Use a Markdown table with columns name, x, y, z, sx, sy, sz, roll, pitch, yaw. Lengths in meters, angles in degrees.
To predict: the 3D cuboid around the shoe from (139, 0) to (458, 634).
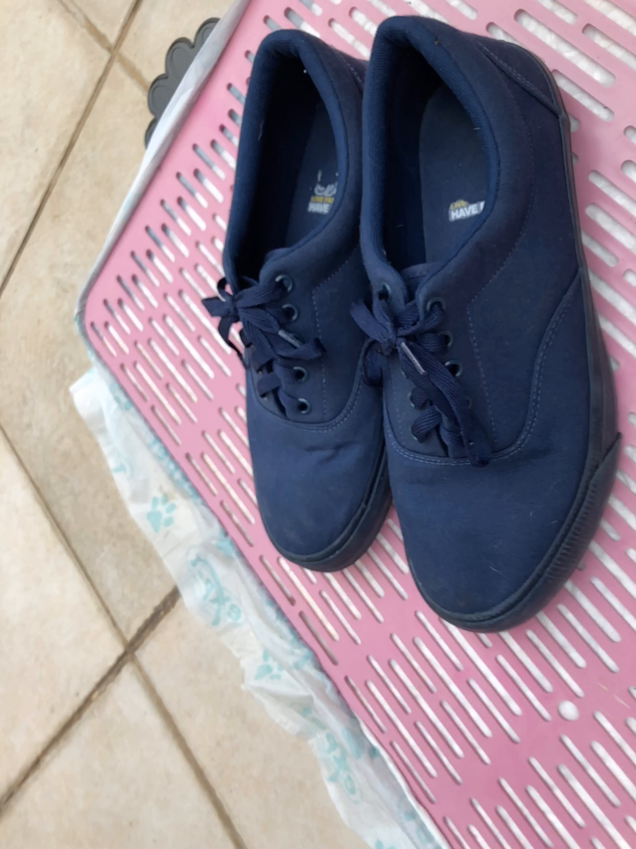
| name | x | y | z | sx | sy | sz | roll | pitch | yaw |
| --- | --- | --- | --- | --- | --- | --- | --- | --- | --- |
| shoe | -0.011 | -0.053 | 0.359 | 0.108 | 0.099 | 0.270 | 8 | 98 | 35 |

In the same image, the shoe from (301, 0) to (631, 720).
| name | x | y | z | sx | sy | sz | roll | pitch | yaw |
| --- | --- | --- | --- | --- | --- | --- | --- | --- | --- |
| shoe | 0.069 | -0.035 | 0.312 | 0.108 | 0.099 | 0.270 | 0 | 93 | 35 |
